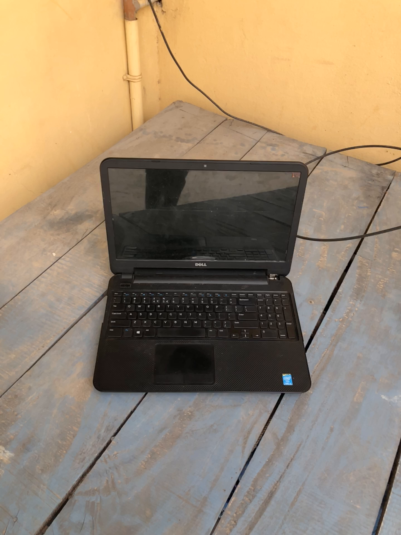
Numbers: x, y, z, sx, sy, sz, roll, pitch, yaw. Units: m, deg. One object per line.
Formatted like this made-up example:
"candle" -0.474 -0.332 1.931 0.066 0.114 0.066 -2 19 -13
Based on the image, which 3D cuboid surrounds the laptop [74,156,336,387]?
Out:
"laptop" 0.003 0.000 0.734 0.331 0.214 0.308 0 47 -2
